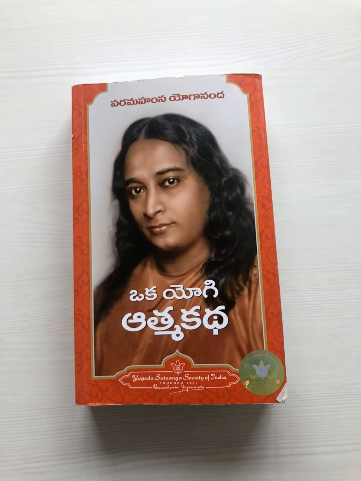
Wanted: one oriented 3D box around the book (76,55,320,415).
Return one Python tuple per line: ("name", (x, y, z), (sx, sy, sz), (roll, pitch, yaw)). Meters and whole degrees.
("book", (0.008, -0.006, 0.282), (0.150, 0.040, 0.233), (-2, 82, 2))
